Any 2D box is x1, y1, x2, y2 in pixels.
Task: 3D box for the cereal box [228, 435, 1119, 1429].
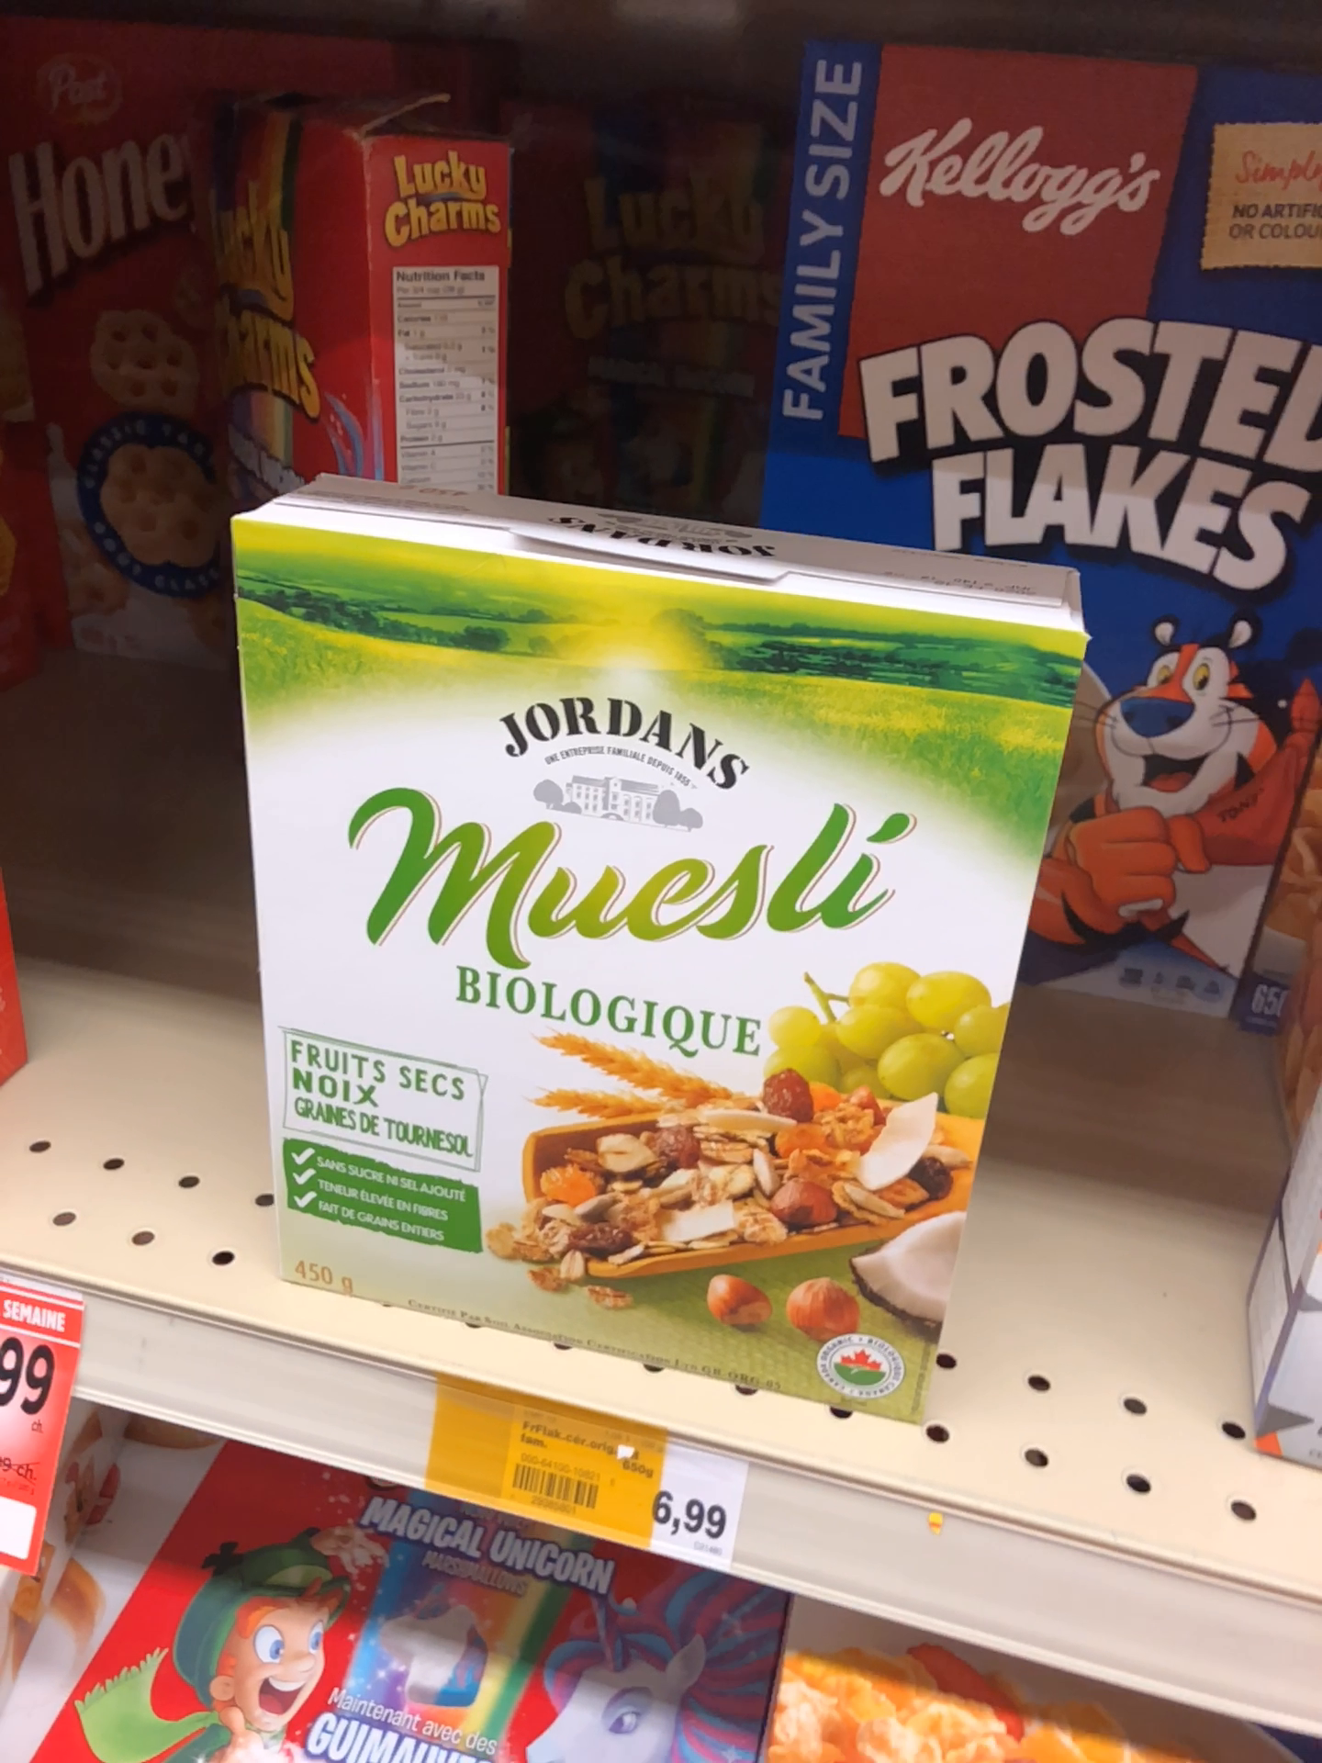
[{"bbox_3d":[-0.004,0.017,0.361,0.180,0.218,0.050,10,29,10],"label":"cereal box"}]
